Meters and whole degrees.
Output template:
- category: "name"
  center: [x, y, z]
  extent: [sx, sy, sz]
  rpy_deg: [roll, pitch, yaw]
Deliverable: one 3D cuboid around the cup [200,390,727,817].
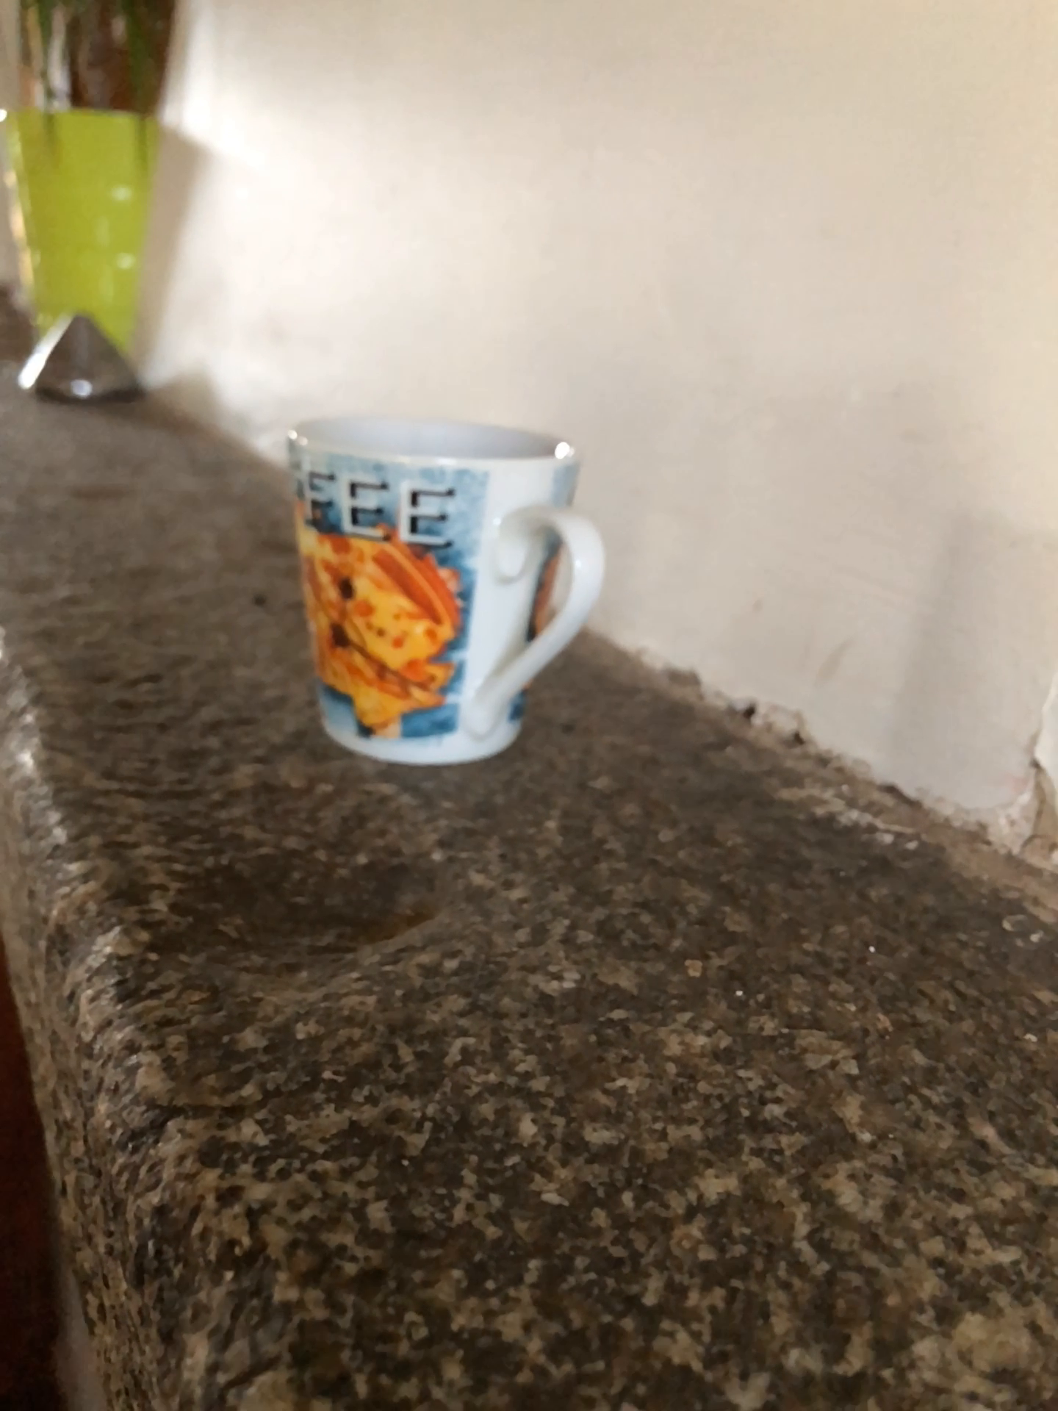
- category: "cup"
  center: [-0.015, -0.026, 0.232]
  extent: [0.060, 0.060, 0.080]
  rpy_deg: [-13, 25, -43]
